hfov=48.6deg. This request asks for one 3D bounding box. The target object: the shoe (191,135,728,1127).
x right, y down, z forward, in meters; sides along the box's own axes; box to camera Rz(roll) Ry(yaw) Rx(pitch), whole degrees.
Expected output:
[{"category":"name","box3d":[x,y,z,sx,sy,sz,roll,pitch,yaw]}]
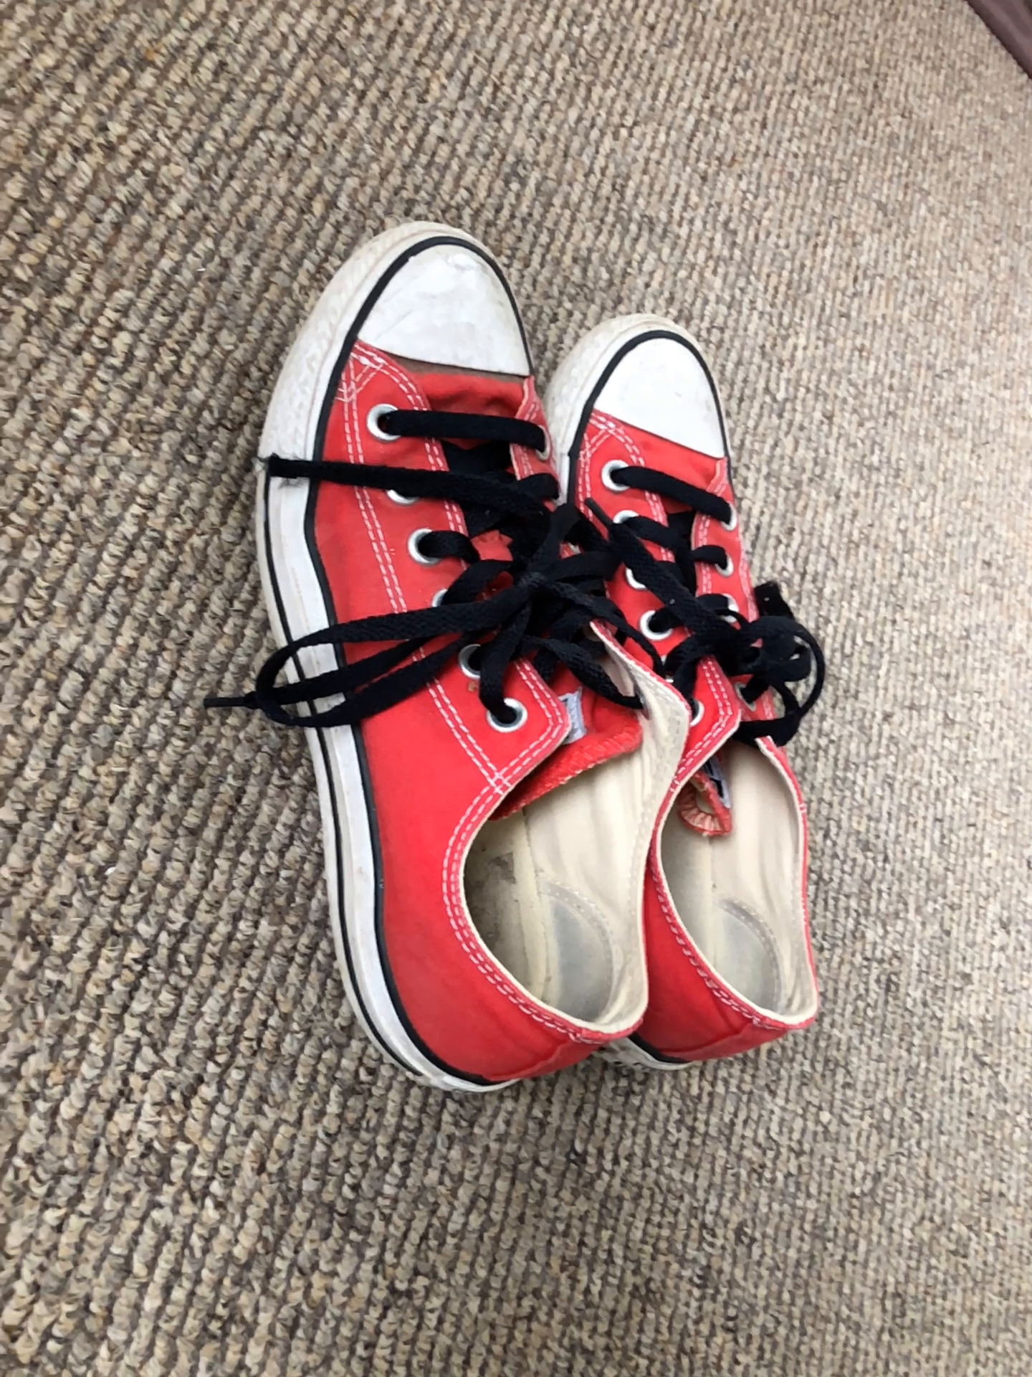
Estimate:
[{"category":"shoe","box3d":[-0.025,-0.014,0.359,0.103,0.096,0.262,2,76,-38]}]

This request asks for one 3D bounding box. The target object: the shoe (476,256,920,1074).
[{"category":"shoe","box3d":[0.059,-0.003,0.411,0.103,0.088,0.258,8,72,-37]}]
